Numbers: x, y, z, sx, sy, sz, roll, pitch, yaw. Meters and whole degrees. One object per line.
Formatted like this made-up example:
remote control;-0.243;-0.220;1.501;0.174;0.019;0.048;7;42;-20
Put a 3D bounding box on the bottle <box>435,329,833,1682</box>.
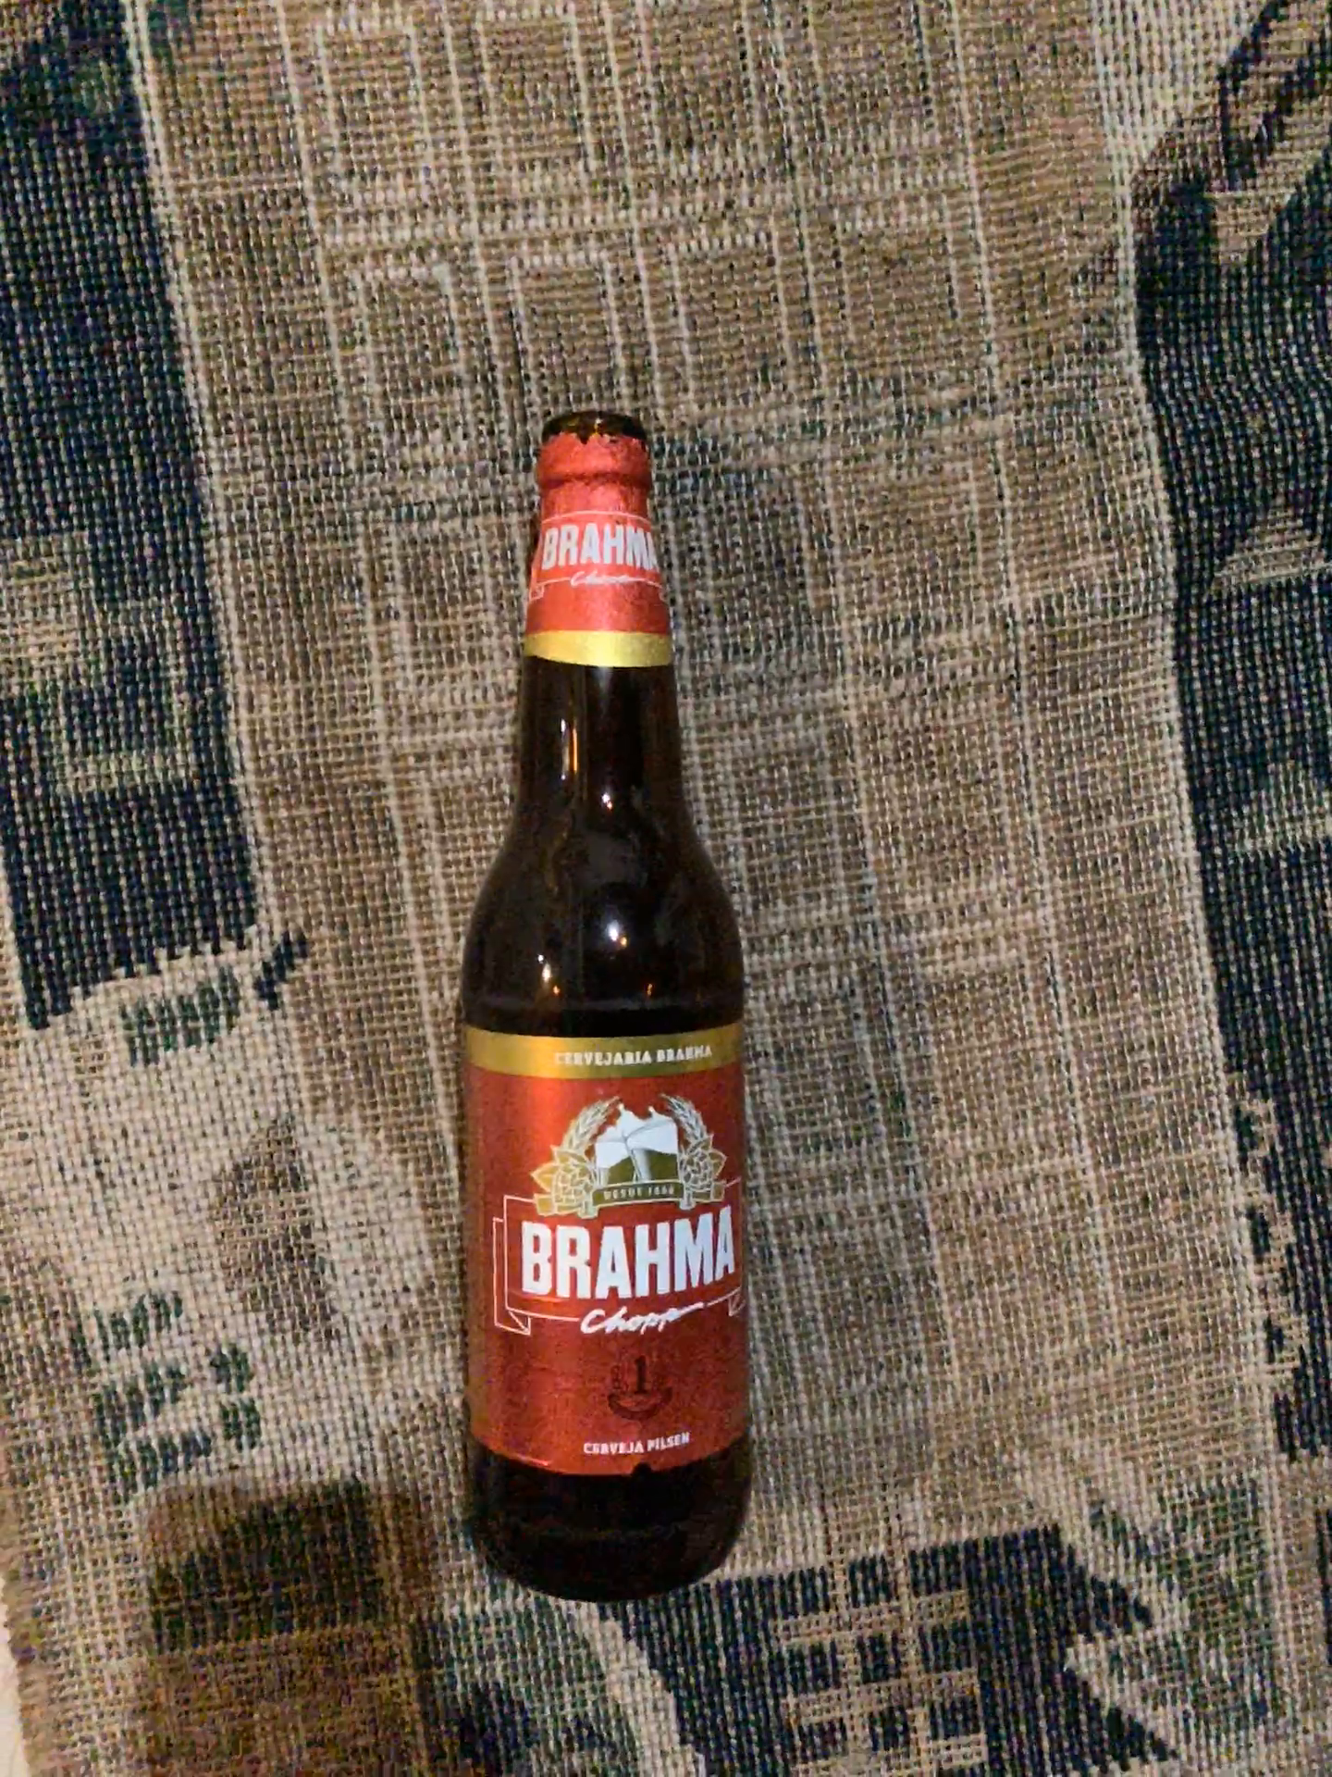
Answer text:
bottle;-0.009;0.025;0.318;0.080;0.060;0.280;-1;92;-8
